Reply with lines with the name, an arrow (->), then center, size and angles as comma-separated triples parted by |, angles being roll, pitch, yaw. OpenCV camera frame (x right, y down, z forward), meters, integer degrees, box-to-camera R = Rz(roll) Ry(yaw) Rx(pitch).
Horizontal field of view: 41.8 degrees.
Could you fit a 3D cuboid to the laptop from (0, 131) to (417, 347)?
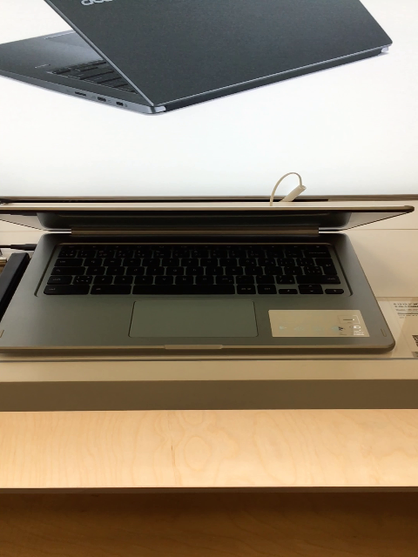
laptop -> -0.015, -0.047, 0.540 | 0.360, 0.139, 0.212 | 0, 36, -1
